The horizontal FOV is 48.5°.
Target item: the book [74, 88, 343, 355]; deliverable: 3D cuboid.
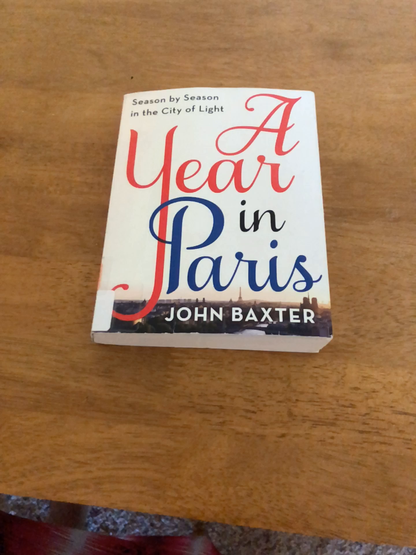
[{"bbox_3d":[0.003,-0.044,0.312,0.150,0.040,0.182,1,66,2],"label":"book"}]
